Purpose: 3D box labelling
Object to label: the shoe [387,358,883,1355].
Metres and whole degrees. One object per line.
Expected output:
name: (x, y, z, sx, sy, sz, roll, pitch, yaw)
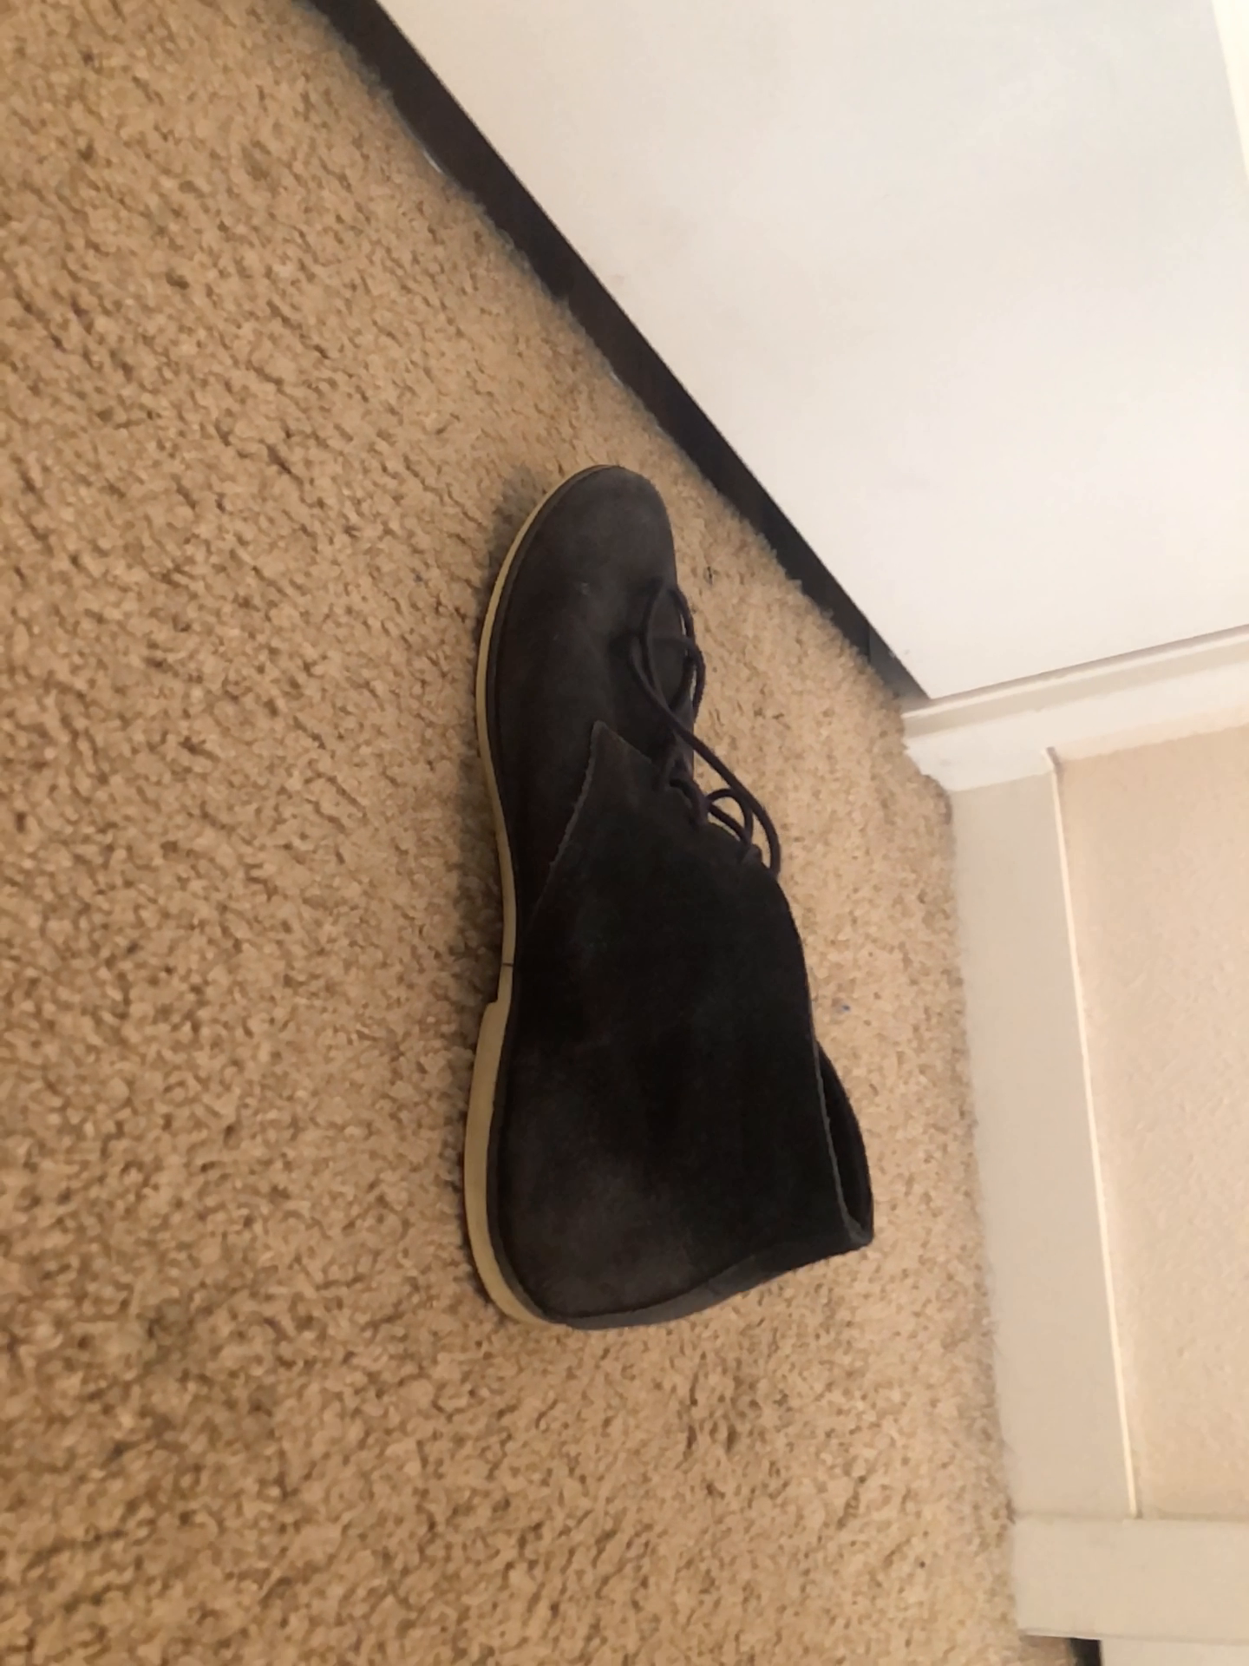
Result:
shoe: (0.011, 0.009, 0.426, 0.103, 0.094, 0.279, 36, 49, -52)
